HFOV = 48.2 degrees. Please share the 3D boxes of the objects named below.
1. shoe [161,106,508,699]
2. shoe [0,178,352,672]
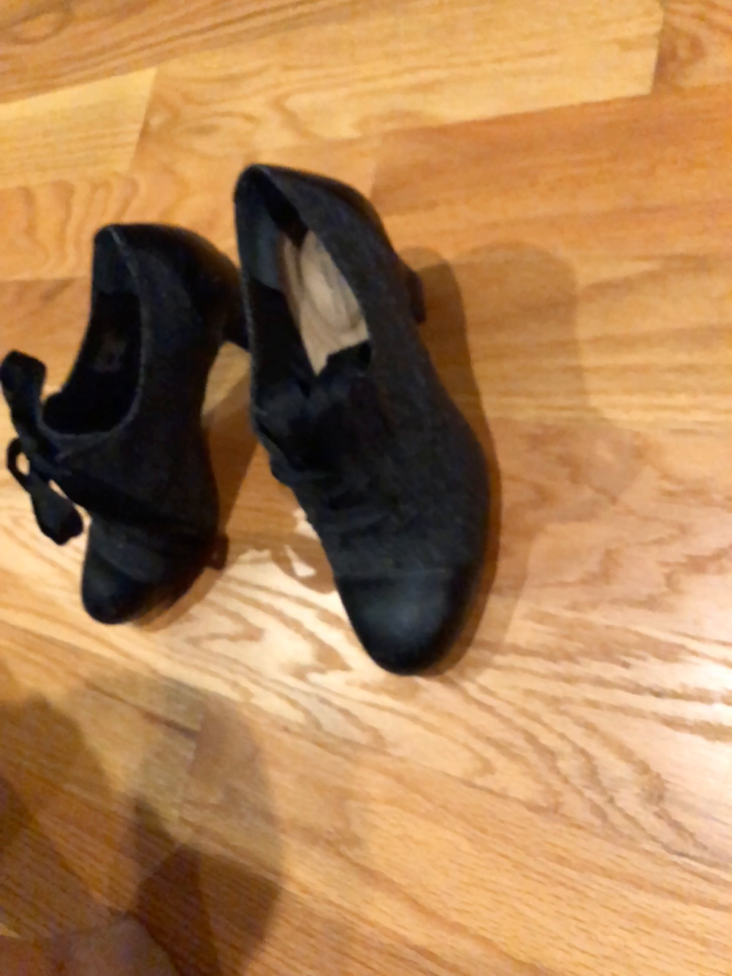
[{"bbox_3d":[-0.006,-0.022,0.364,0.088,0.125,0.223,-8,73,31],"label":"shoe"},{"bbox_3d":[-0.128,-0.023,0.443,0.093,0.125,0.223,33,96,34],"label":"shoe"}]
